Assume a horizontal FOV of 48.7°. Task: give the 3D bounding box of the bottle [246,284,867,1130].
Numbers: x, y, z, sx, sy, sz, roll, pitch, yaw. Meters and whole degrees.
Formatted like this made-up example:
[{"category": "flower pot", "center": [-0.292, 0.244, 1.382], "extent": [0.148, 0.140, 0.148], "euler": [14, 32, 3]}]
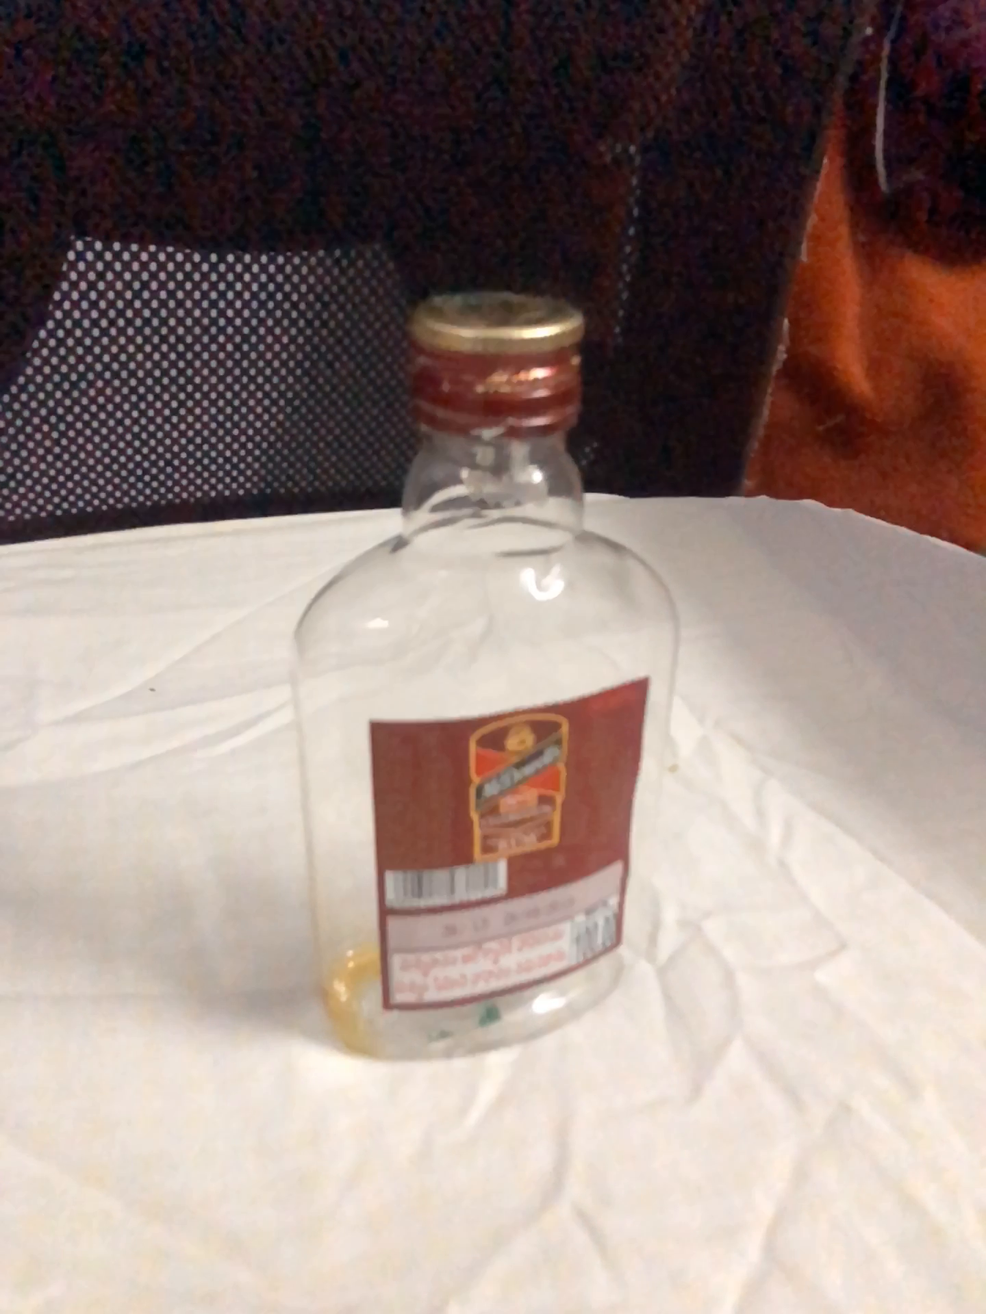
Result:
[{"category": "bottle", "center": [0.003, 0.011, 0.191], "extent": [0.080, 0.139, 0.040], "euler": [-7, 33, -19]}]
